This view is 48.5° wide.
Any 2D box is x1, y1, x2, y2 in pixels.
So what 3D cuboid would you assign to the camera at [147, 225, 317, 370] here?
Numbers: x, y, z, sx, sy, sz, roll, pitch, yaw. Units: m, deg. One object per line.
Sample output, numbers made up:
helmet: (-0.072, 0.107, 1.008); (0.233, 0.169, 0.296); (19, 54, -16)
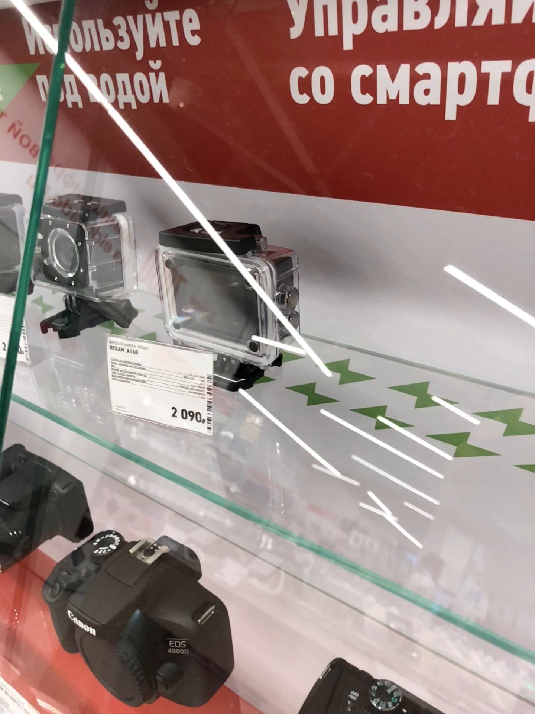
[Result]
camera: (-0.018, -0.034, 0.308); (0.075, 0.053, 0.040); (15, 31, 34)
